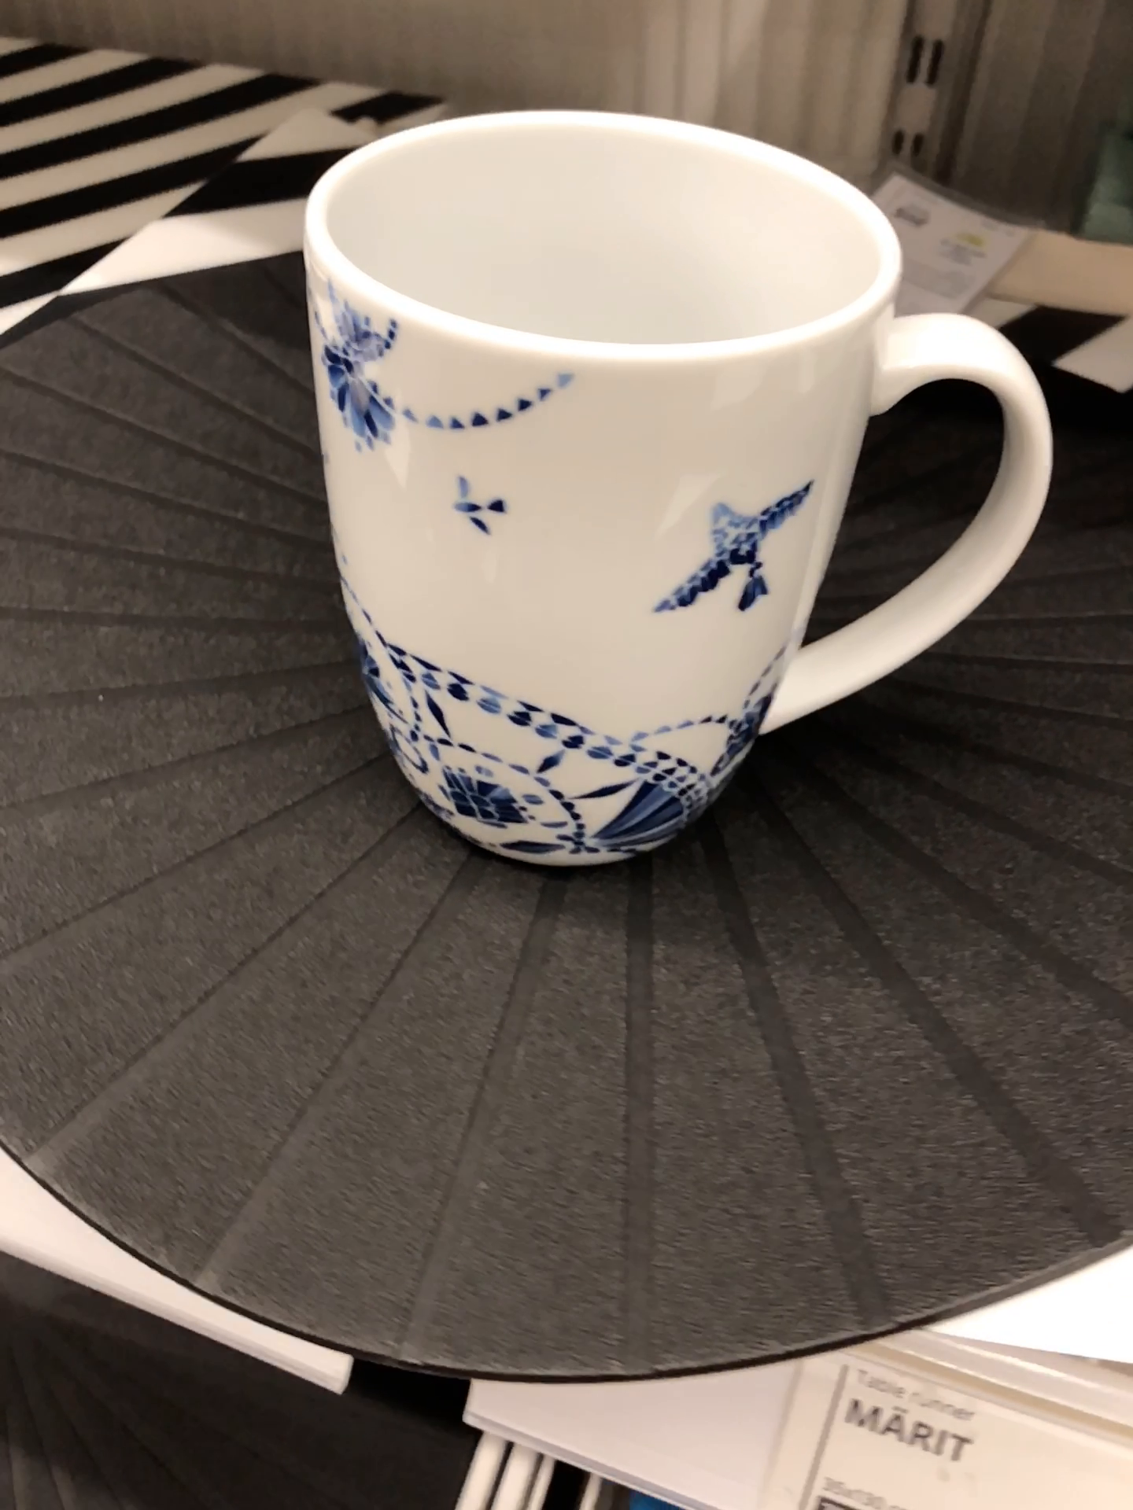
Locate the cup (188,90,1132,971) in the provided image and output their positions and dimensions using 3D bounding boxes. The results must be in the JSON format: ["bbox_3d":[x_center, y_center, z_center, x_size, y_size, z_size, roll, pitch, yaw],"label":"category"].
[{"bbox_3d":[0.023,-0.040,0.219,0.130,0.100,0.100,6,44,3],"label":"cup"}]
